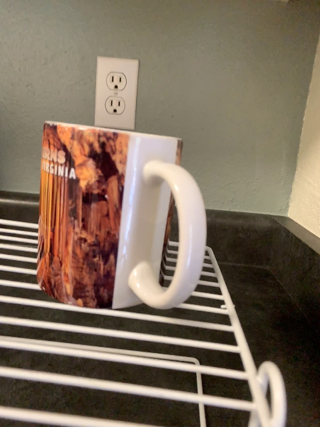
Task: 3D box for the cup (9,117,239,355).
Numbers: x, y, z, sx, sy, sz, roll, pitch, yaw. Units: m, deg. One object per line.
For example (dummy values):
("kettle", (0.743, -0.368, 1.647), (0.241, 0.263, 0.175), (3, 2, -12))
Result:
("cup", (-0.033, -0.004, 0.191), (0.080, 0.090, 0.120), (-3, 16, -33))
